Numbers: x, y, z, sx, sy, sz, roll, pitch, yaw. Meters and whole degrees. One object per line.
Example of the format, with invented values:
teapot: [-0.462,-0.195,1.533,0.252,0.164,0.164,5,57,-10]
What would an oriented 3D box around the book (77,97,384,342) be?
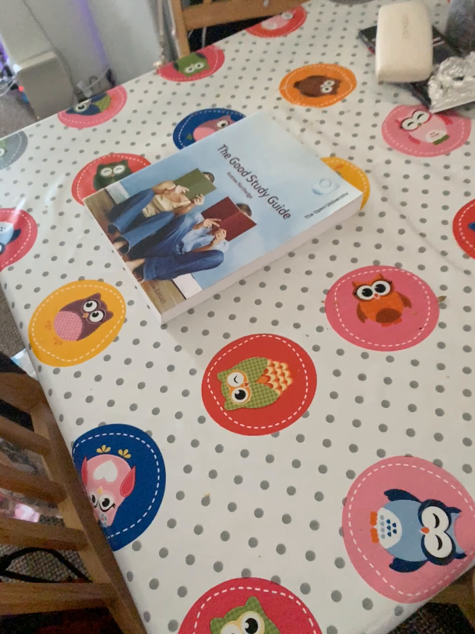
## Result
book: [-0.015,-0.123,0.534,0.260,0.030,0.211,-31,60,-10]
